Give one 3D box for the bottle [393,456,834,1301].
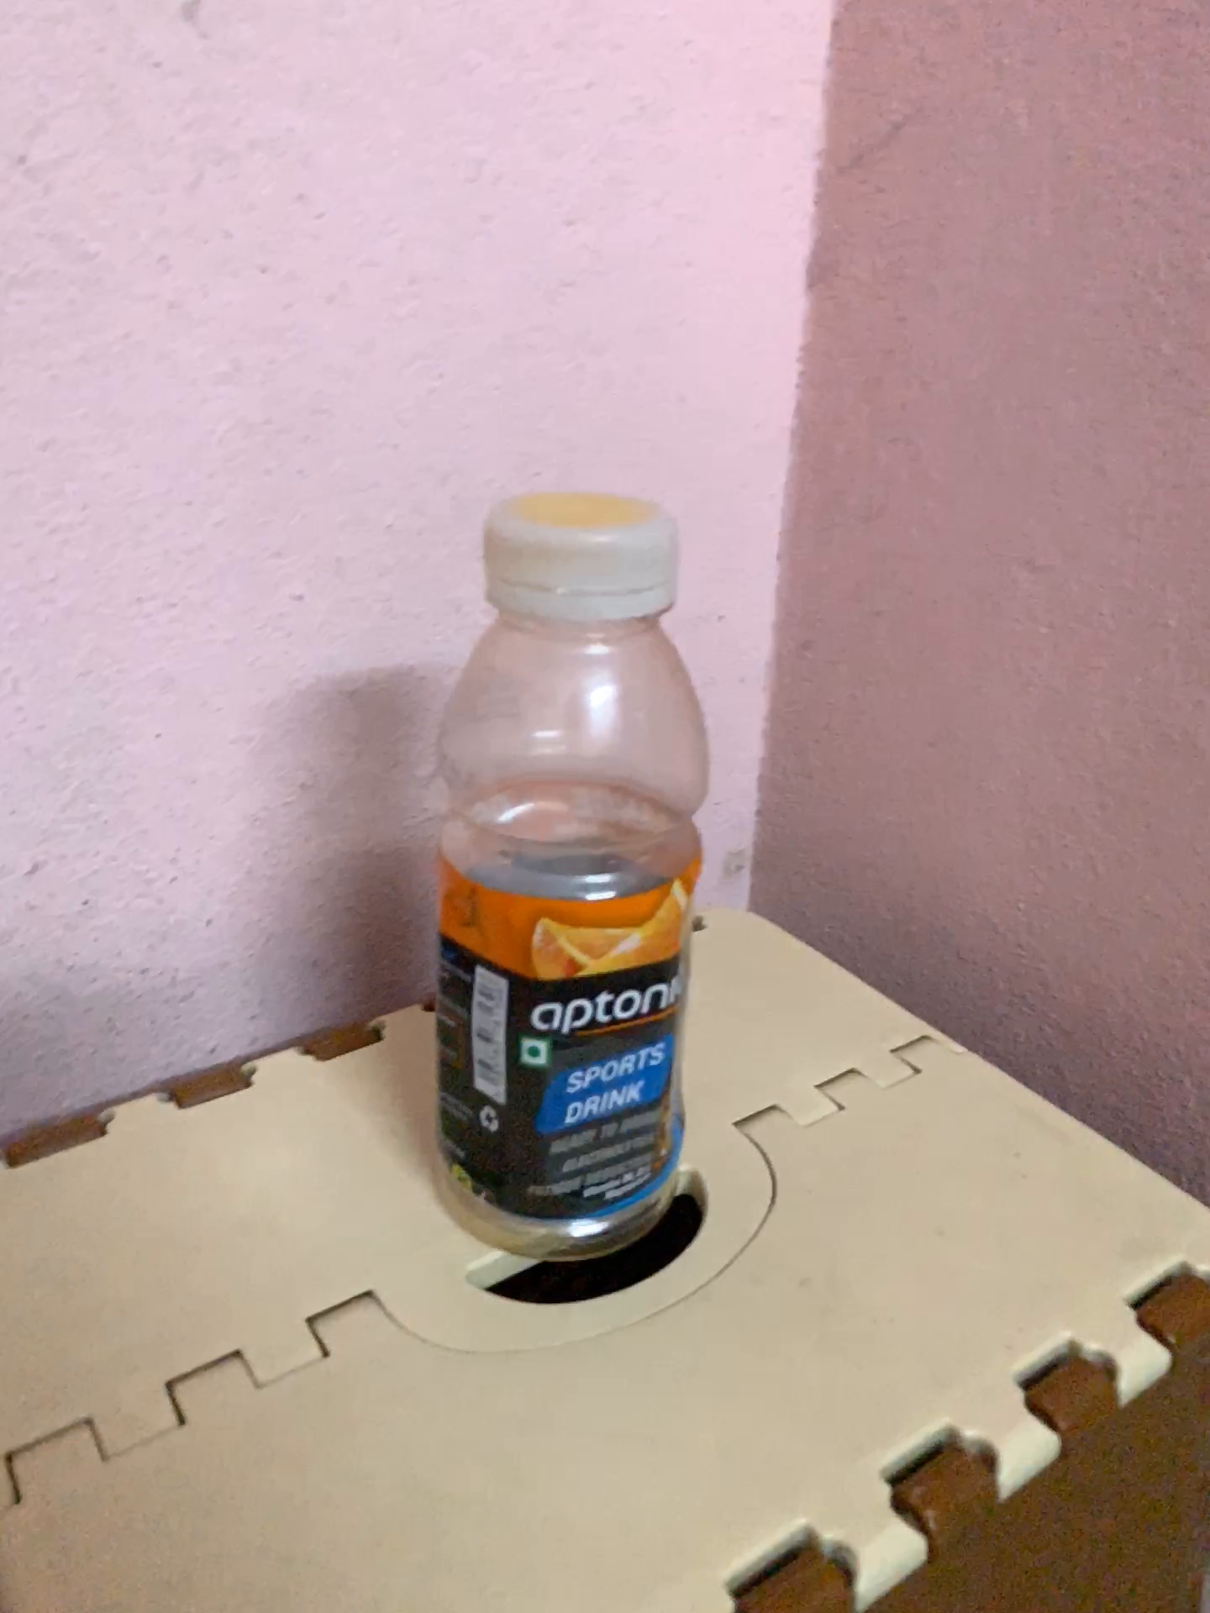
[{"bbox_3d":[-0.002,0.016,0.293,0.070,0.179,0.060,-13,28,-29],"label":"bottle"}]
